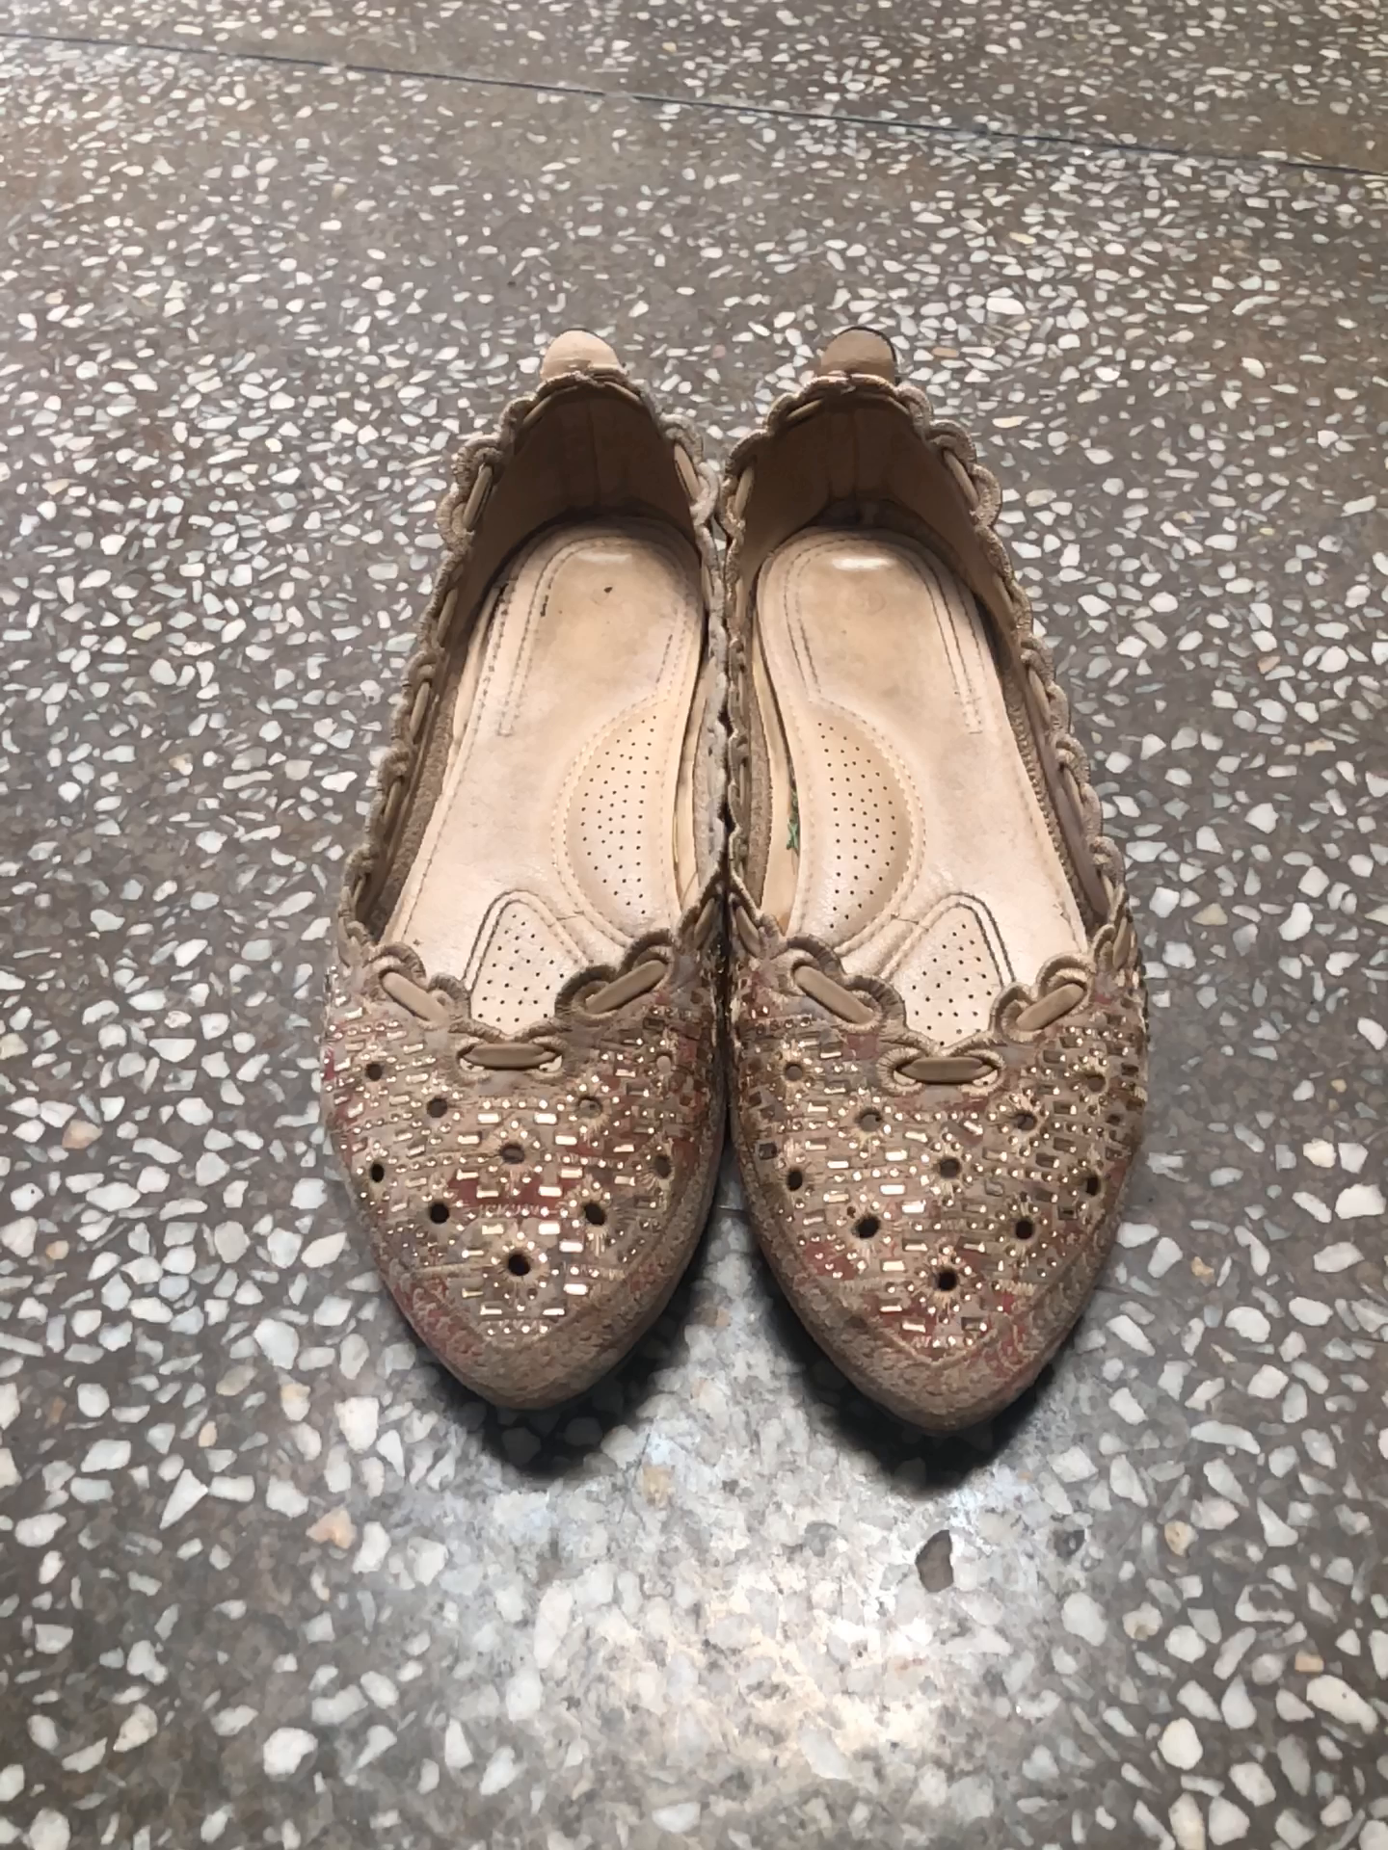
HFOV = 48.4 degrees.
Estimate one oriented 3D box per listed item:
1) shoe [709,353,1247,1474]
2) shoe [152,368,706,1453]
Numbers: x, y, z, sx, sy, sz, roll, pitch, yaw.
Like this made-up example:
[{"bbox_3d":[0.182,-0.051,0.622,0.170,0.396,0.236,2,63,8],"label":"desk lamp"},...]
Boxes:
[{"bbox_3d":[0.050,-0.022,0.347,0.090,0.040,0.271,0,59,2],"label":"shoe"},{"bbox_3d":[-0.044,-0.026,0.358,0.090,0.040,0.281,0,55,2],"label":"shoe"}]
